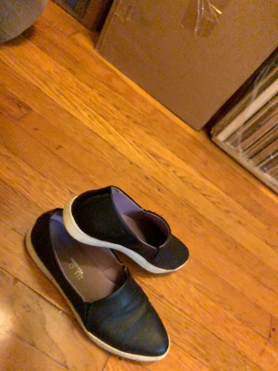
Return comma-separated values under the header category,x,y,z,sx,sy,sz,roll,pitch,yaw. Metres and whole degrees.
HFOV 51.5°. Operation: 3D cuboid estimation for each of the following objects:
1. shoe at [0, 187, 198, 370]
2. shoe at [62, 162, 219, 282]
category,x,y,z,sx,sy,sz,roll,pitch,yaw
shoe,-0.055,0.140,0.393,0.260,0.080,0.100,46,48,3
shoe,0.016,0.072,0.431,0.250,0.080,0.100,27,46,-43
